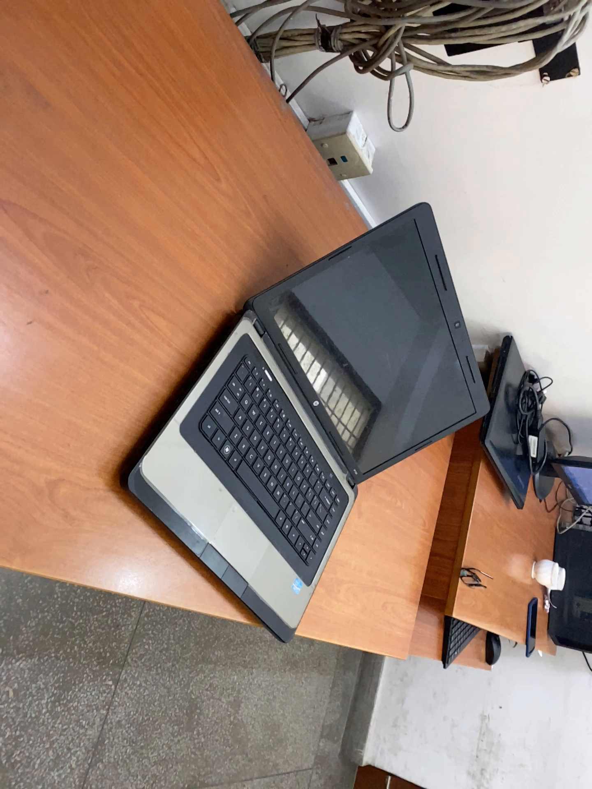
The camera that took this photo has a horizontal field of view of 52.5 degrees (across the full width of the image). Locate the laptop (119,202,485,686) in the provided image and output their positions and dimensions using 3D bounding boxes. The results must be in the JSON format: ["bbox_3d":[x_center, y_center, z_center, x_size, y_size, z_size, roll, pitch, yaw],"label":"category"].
[{"bbox_3d":[0.064,0.059,0.755,0.426,0.158,0.384,-60,138,-31],"label":"laptop"}]
